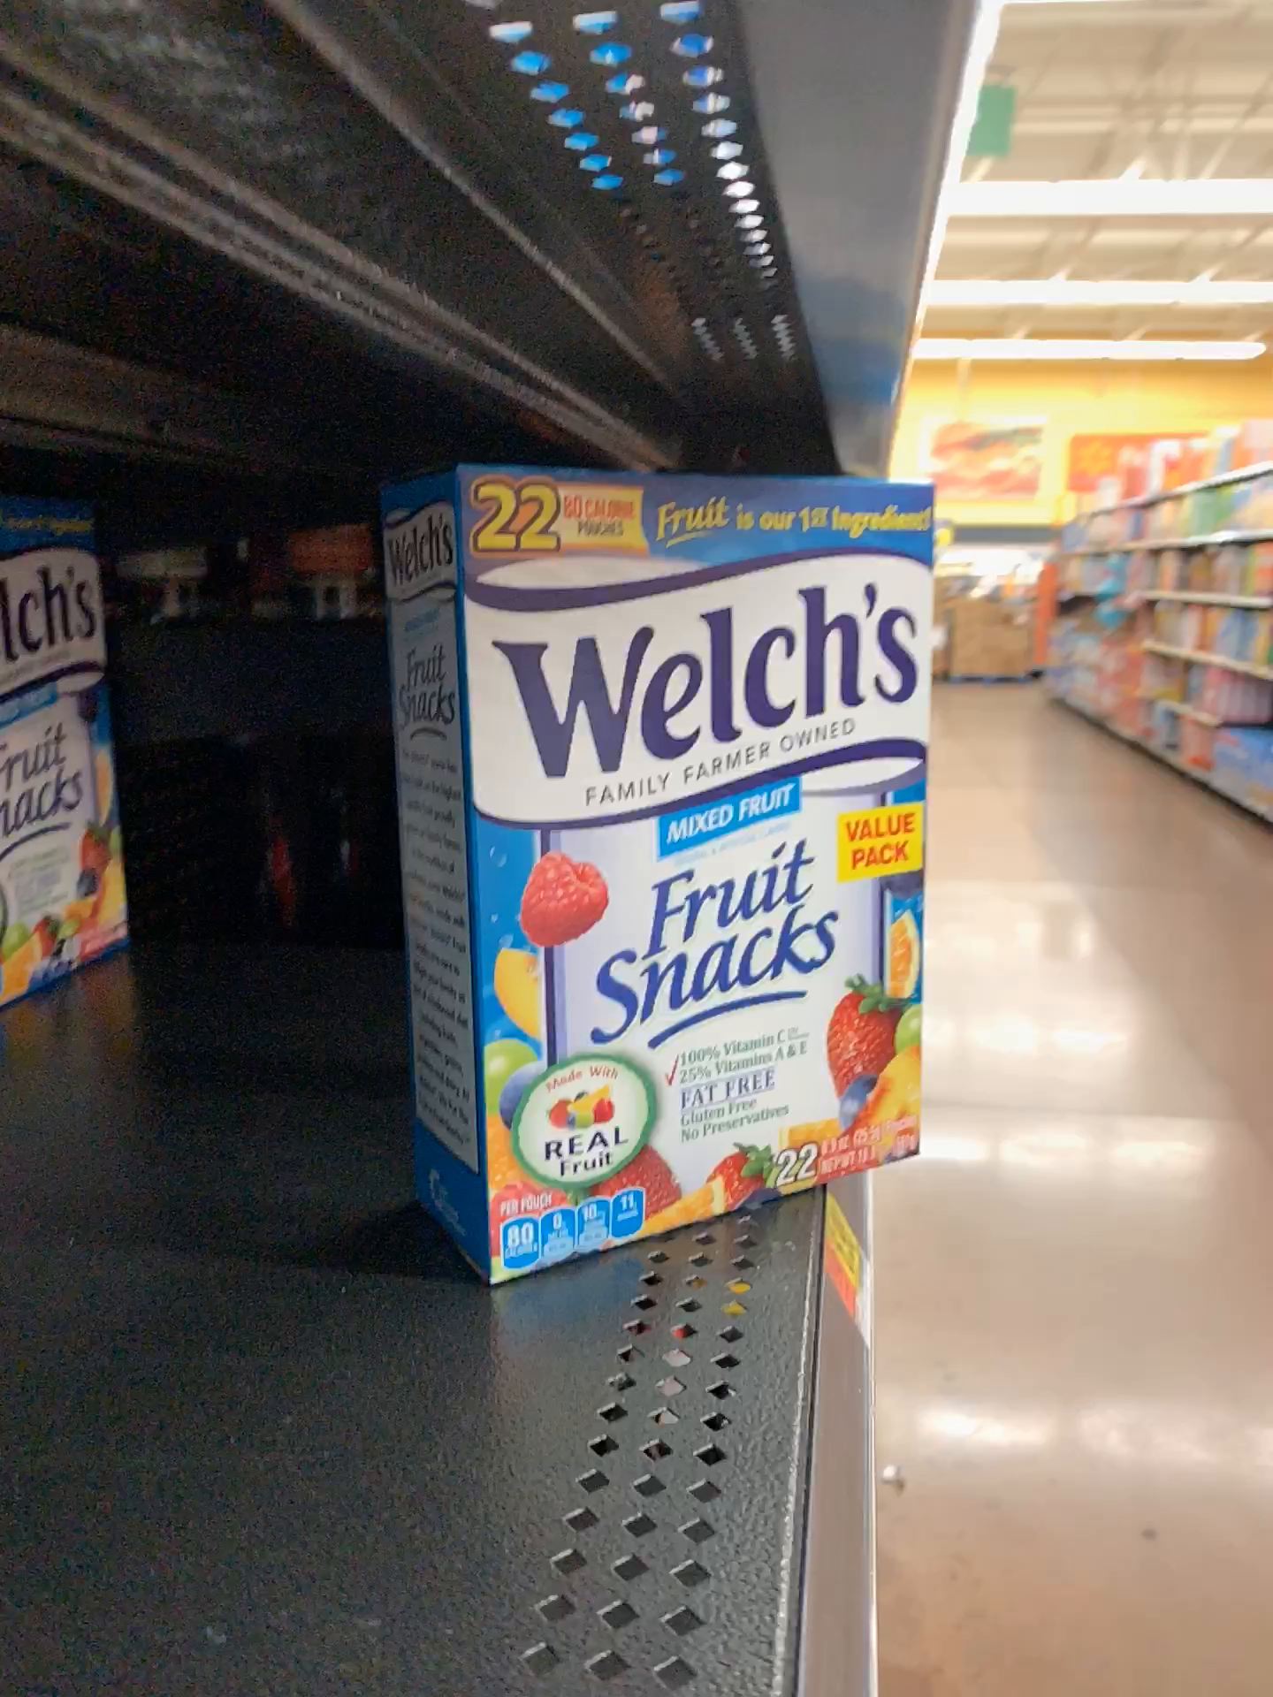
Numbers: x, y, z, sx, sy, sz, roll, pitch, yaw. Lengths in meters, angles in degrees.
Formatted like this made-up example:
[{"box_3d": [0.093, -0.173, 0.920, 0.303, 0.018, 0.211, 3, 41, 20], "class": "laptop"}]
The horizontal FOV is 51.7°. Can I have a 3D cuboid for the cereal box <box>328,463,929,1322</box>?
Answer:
[{"box_3d": [0.004, 0.003, 0.409, 0.170, 0.229, 0.060, -8, 13, -30], "class": "cereal box"}]
